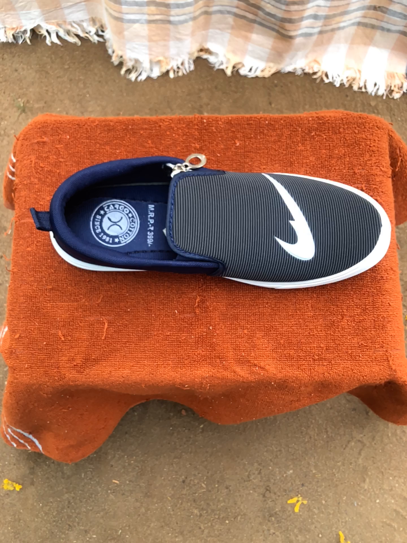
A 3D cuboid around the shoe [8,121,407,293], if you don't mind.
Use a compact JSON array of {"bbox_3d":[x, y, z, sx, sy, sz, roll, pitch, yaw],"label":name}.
[{"bbox_3d":[0.010,-0.047,0.380,0.300,0.080,0.100,4,79,-3],"label":"shoe"}]
